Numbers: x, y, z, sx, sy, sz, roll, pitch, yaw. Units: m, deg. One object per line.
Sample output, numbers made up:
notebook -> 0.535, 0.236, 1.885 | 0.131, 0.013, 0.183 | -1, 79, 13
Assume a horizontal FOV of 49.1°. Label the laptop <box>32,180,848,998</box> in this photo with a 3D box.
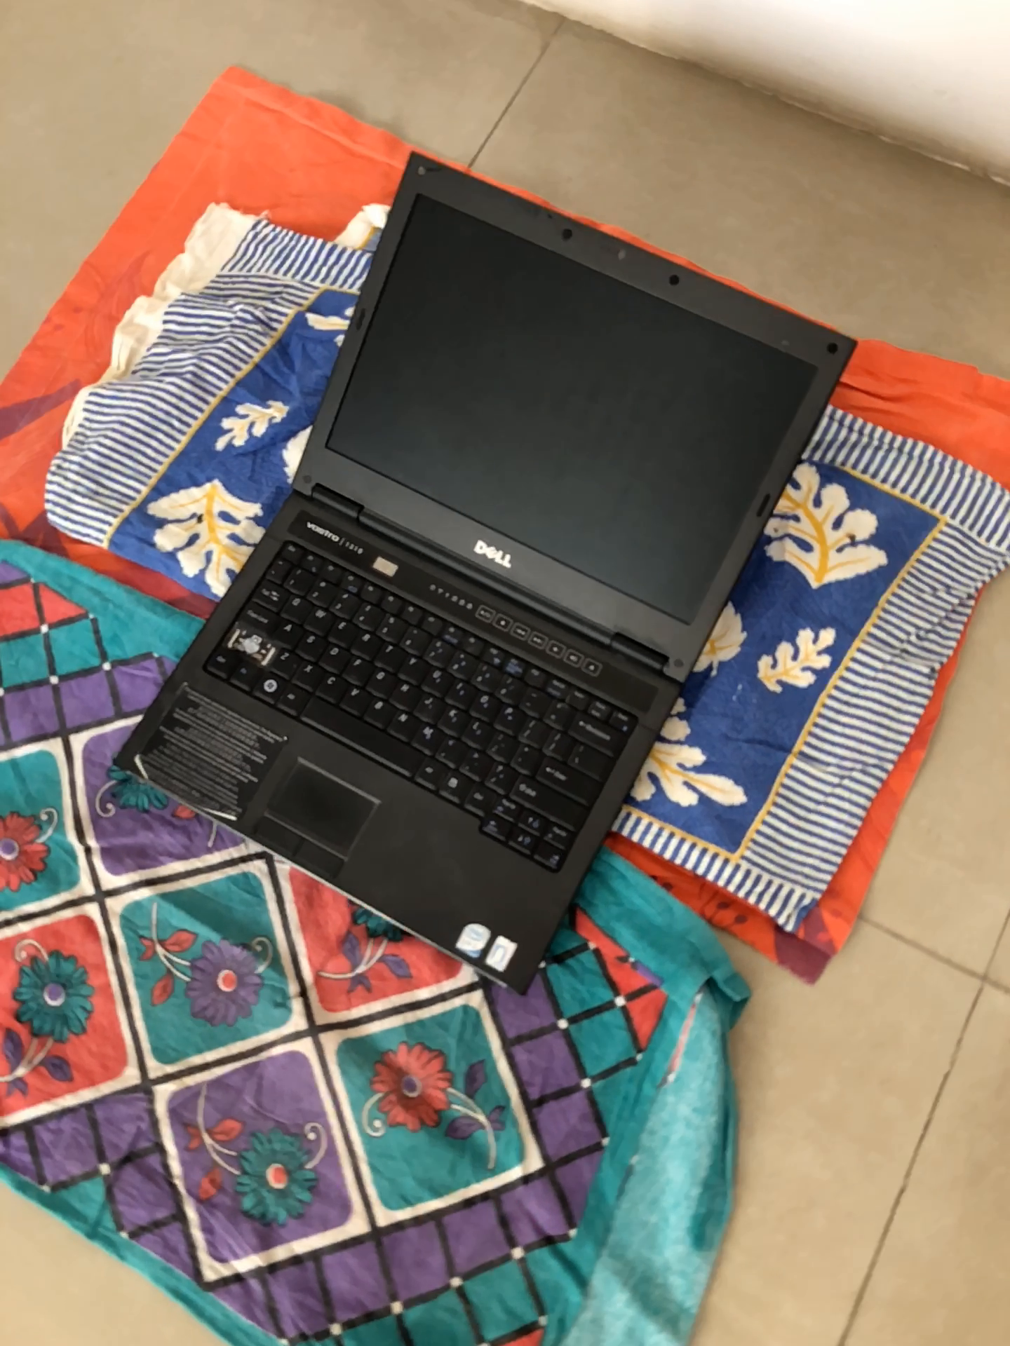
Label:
laptop -> -0.024, -0.063, 0.701 | 0.305, 0.125, 0.420 | 27, 74, 10
